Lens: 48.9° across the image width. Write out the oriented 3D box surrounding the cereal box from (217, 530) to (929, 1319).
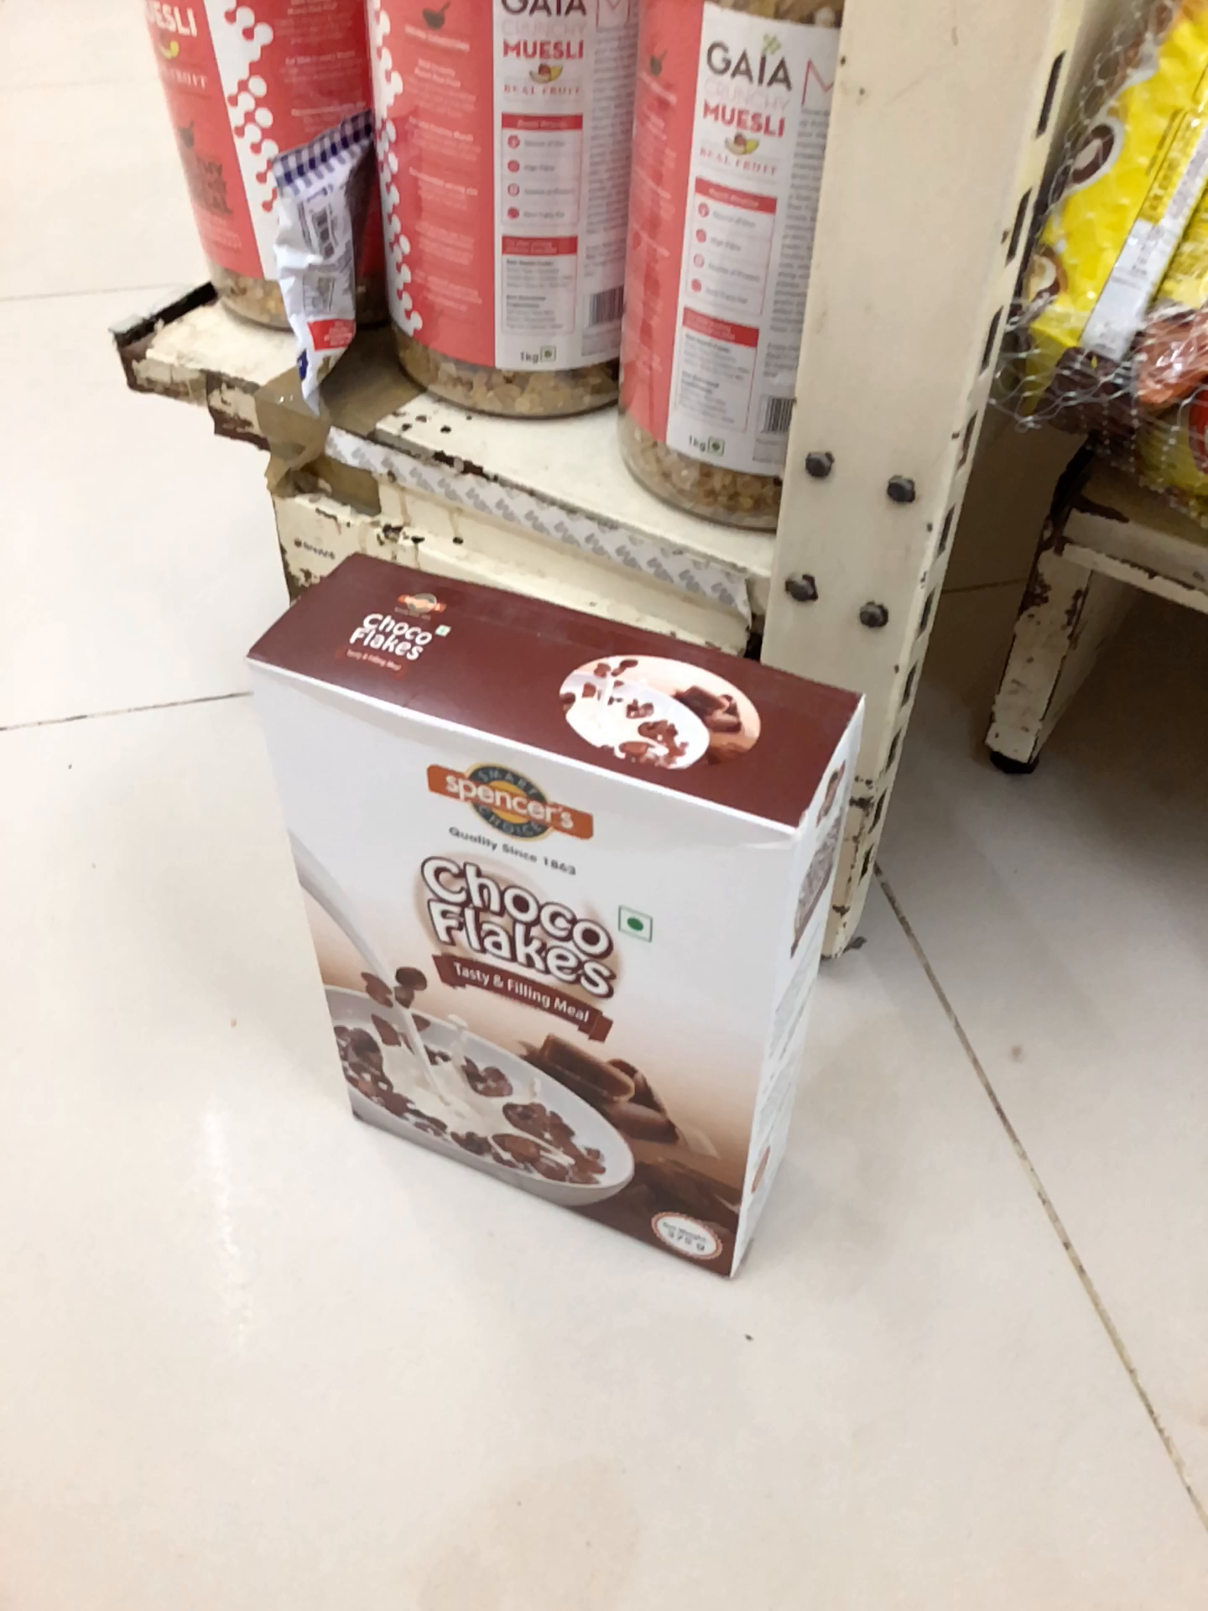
[{"bbox_3d":[-0.010,0.053,0.458,0.190,0.258,0.060,18,48,18],"label":"cereal box"}]
